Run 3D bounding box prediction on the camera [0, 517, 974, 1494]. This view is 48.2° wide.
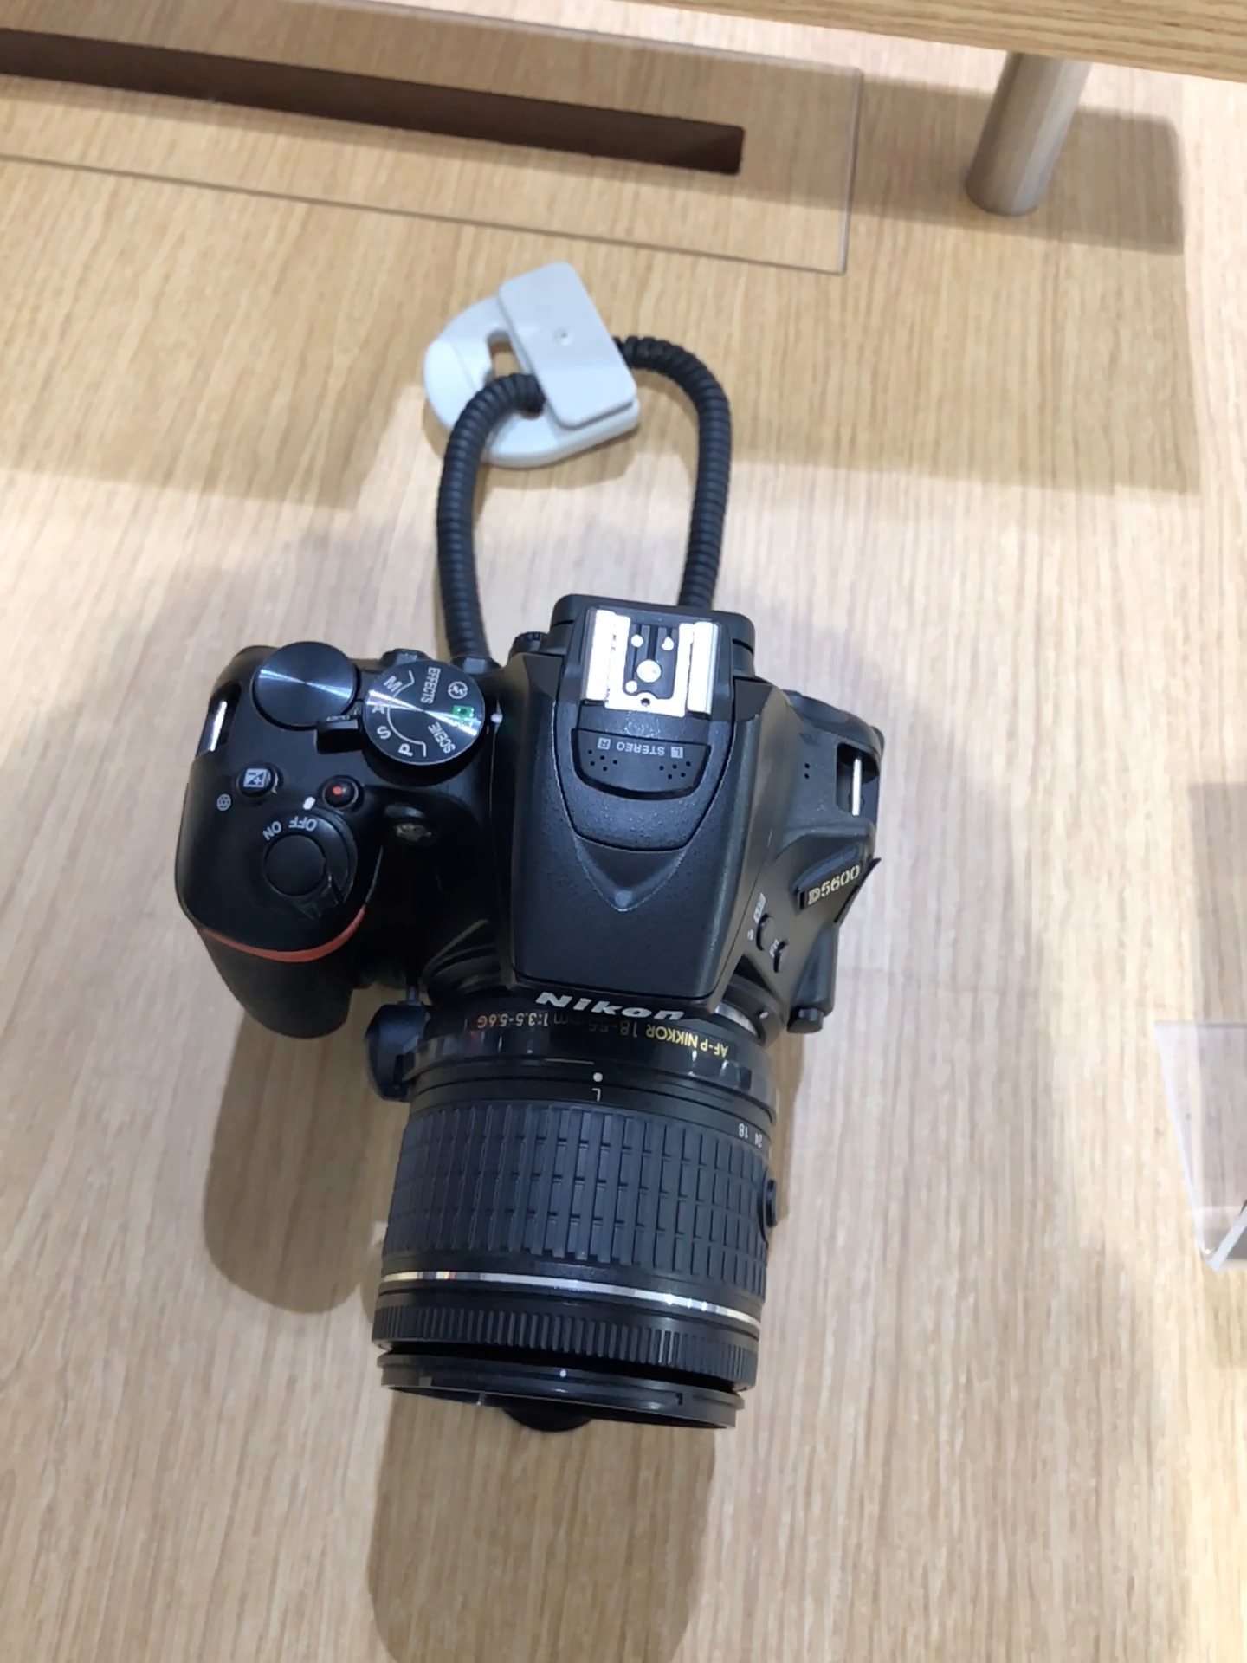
[{"bbox_3d":[-0.013,0.029,0.227,0.120,0.070,0.130,6,64,-1],"label":"camera"}]
